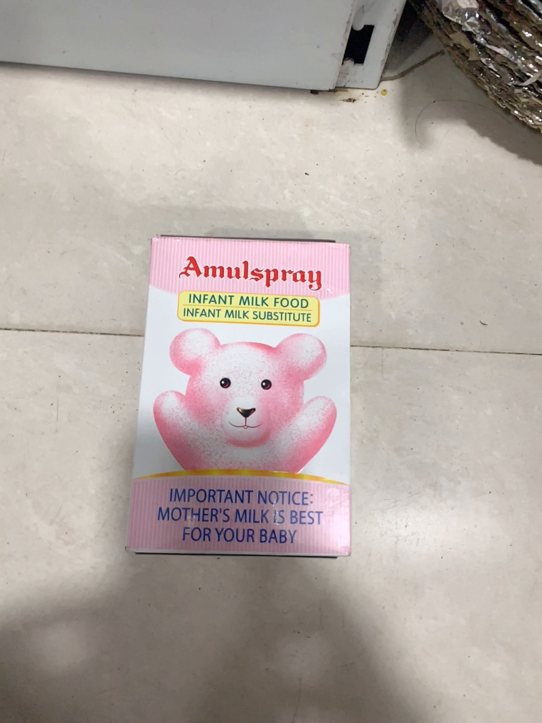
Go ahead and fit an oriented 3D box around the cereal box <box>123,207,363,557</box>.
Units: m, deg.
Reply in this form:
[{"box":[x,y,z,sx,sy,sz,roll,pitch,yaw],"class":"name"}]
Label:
[{"box":[-0.008,0.009,0.250,0.090,0.050,0.140,3,77,-2],"class":"cereal box"}]
